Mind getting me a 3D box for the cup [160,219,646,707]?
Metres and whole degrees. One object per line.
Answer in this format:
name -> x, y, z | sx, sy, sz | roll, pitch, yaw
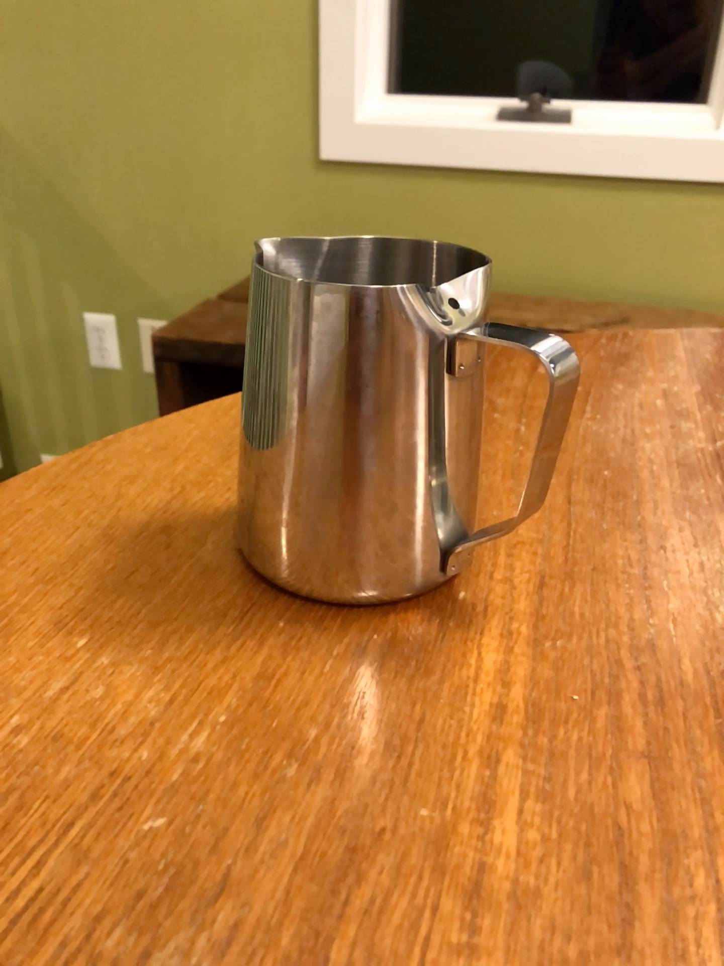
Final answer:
cup -> 0.007, -0.020, 0.284 | 0.136, 0.114, 0.083 | 25, 35, 38
